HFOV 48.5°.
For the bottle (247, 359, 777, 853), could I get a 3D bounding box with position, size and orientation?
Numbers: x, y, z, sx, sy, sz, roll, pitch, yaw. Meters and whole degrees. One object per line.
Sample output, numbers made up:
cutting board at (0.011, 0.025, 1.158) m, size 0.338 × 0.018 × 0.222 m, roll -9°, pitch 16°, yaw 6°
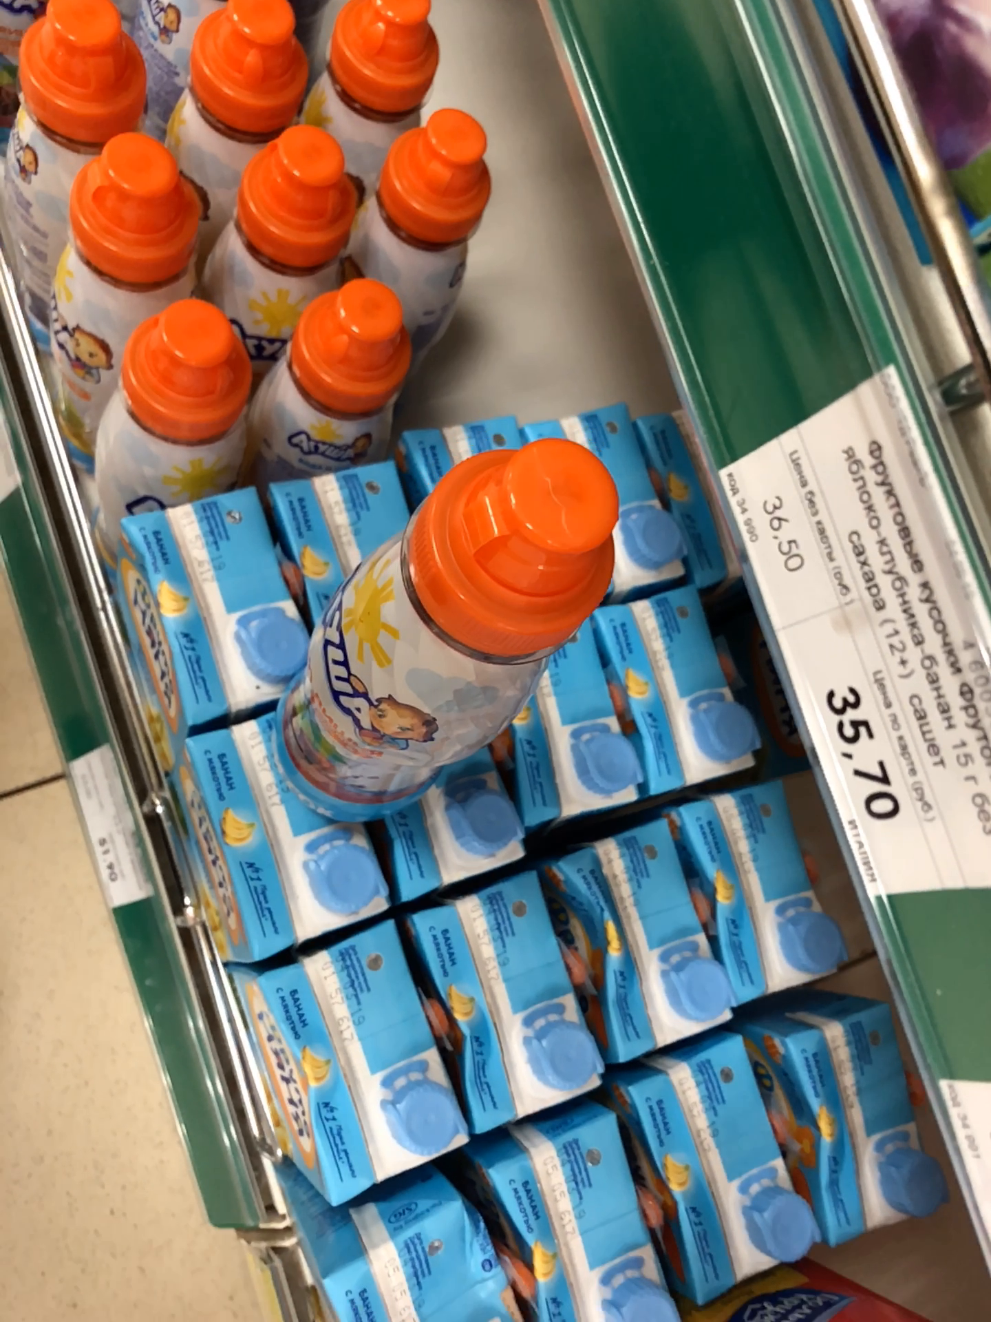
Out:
bottle at (-0.014, 0.001, 0.285) m, size 0.056 × 0.191 × 0.054 m, roll 7°, pitch 71°, yaw -19°
